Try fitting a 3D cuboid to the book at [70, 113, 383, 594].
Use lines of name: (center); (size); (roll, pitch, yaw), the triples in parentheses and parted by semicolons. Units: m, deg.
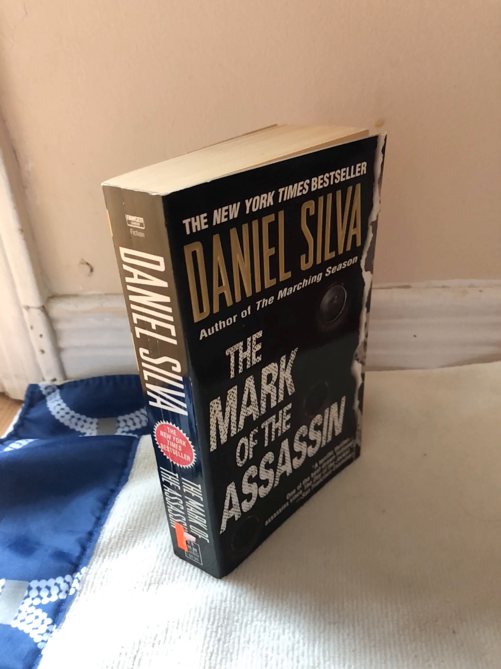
book: (0.005, 0.004, 0.245); (0.045, 0.169, 0.119); (20, 37, 38)
